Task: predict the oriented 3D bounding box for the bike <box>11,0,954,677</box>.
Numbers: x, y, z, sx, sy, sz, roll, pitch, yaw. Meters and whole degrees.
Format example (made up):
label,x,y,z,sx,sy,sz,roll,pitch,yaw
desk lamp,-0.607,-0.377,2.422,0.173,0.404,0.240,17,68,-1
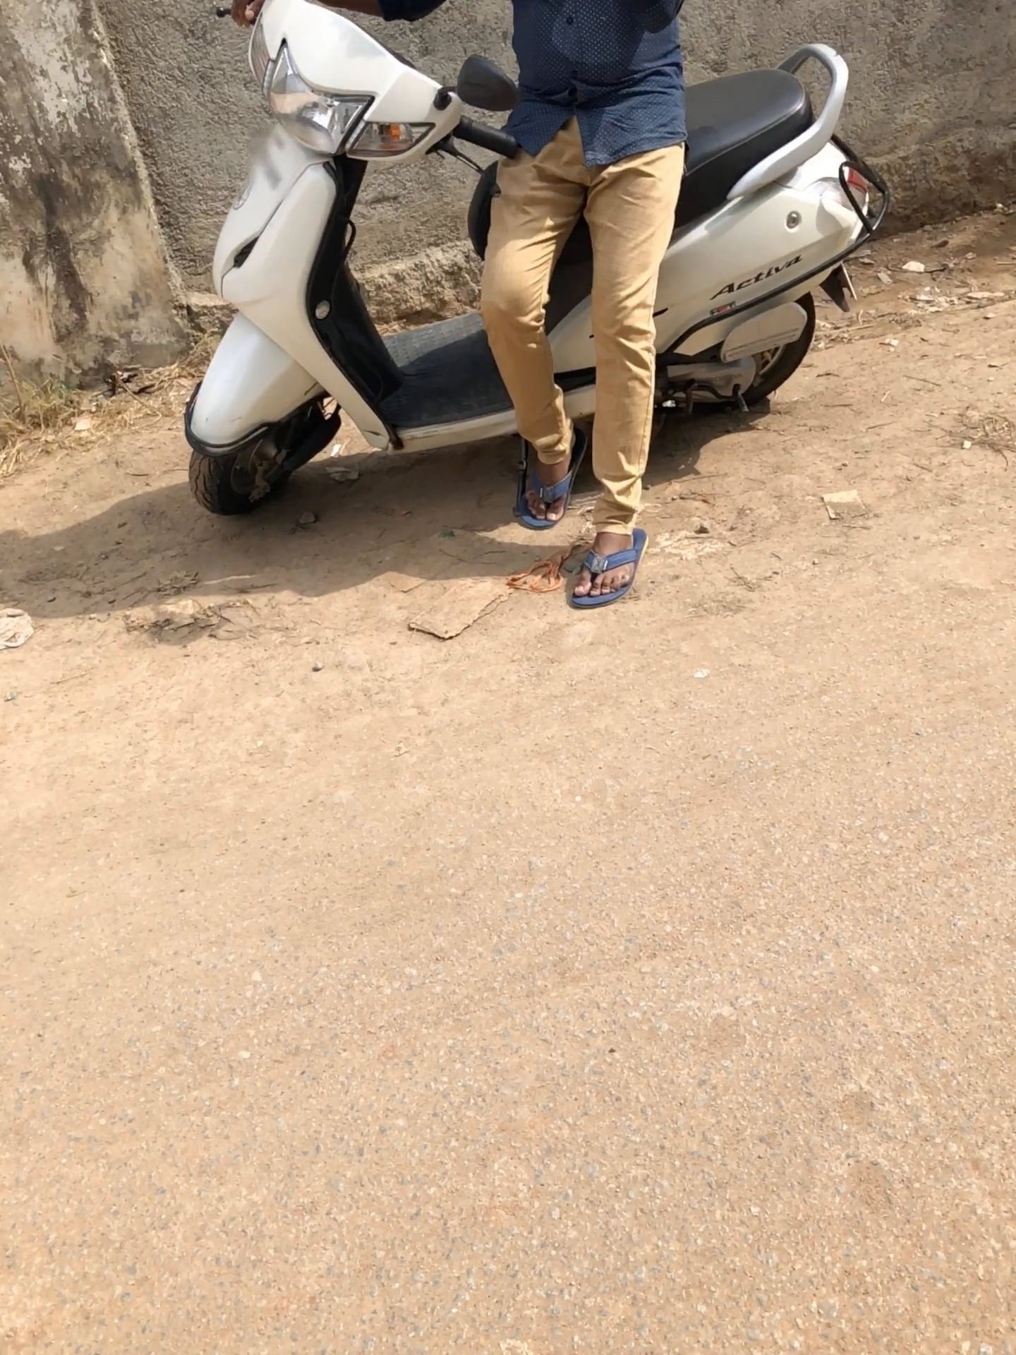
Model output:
label,x,y,z,sx,sy,sz,roll,pitch,yaw
bike,0.015,-0.867,2.441,1.624,1.139,0.672,-15,36,-8
